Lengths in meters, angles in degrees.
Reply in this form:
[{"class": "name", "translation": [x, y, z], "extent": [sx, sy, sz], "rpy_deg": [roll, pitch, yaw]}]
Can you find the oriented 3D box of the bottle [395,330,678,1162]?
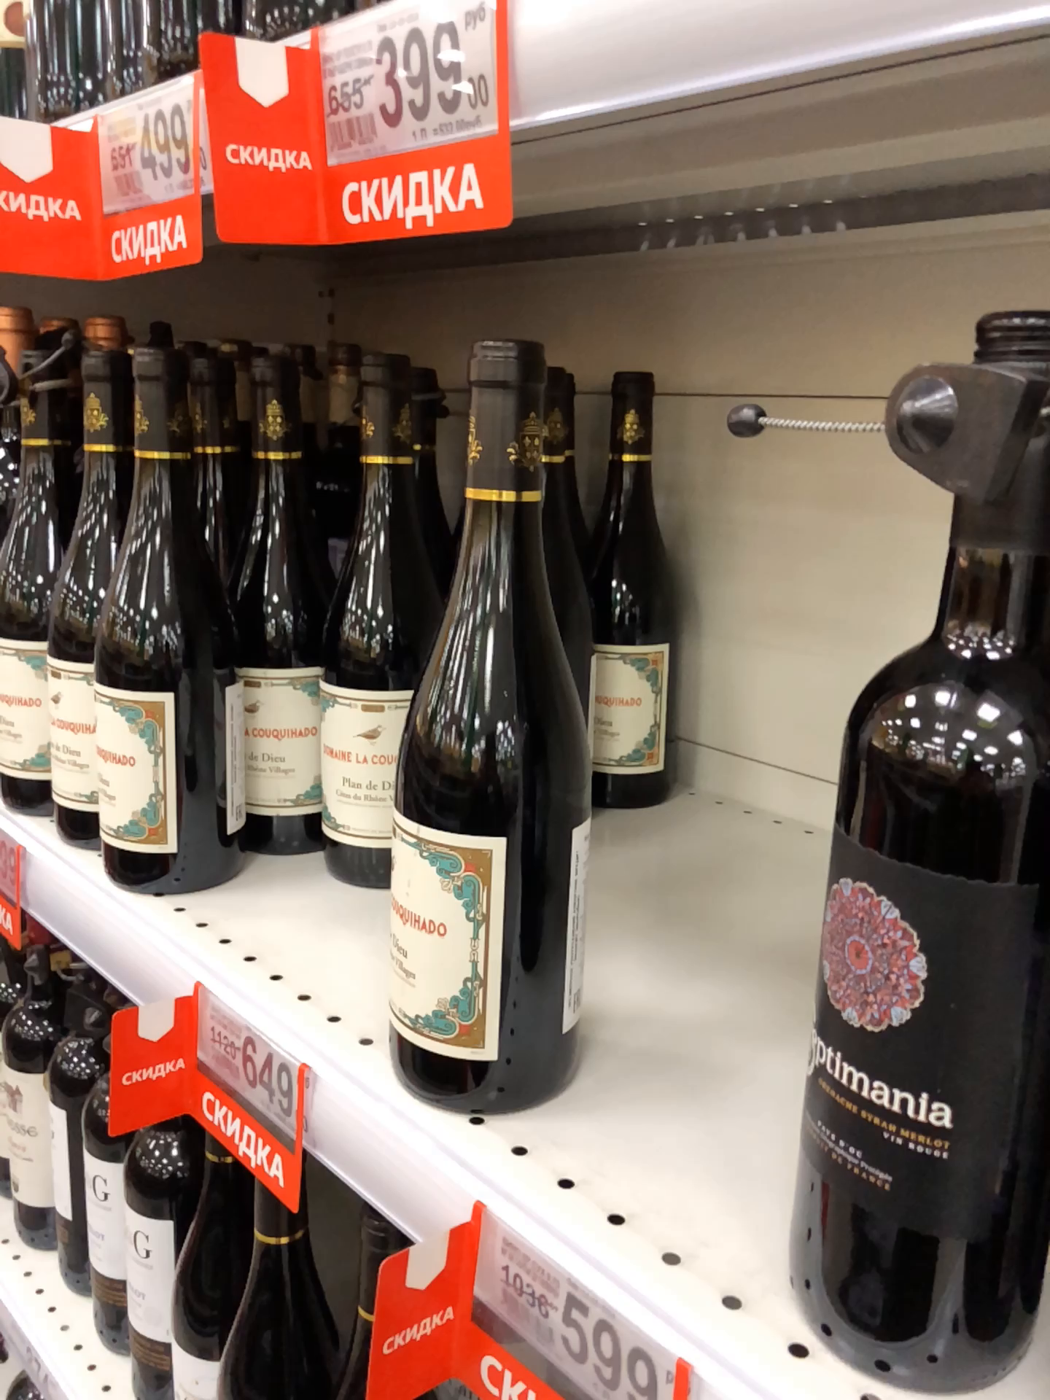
[{"class": "bottle", "translation": [-0.003, 0.016, 0.457], "extent": [0.080, 0.302, 0.090], "rpy_deg": [-3, 14, -17]}]
